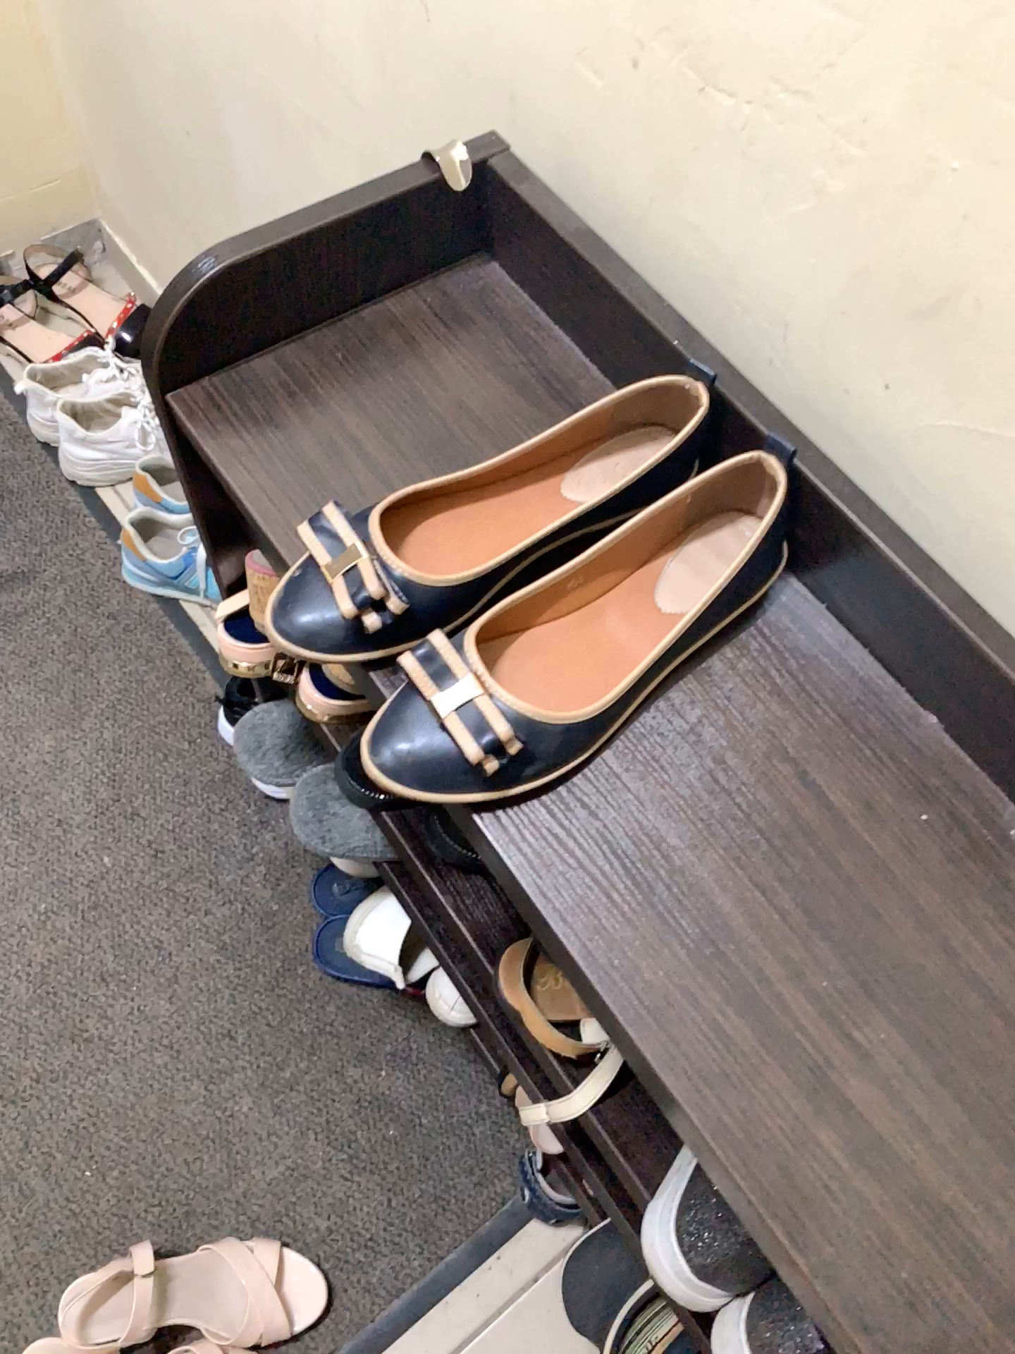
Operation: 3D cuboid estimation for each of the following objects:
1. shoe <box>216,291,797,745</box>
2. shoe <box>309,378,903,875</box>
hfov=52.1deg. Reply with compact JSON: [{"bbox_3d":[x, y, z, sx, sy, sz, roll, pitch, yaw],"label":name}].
[{"bbox_3d":[0.005,-0.091,0.558,0.280,0.100,0.100,-28,62,-19],"label":"shoe"},{"bbox_3d":[0.053,-0.032,0.533,0.280,0.100,0.100,-31,63,-19],"label":"shoe"}]
